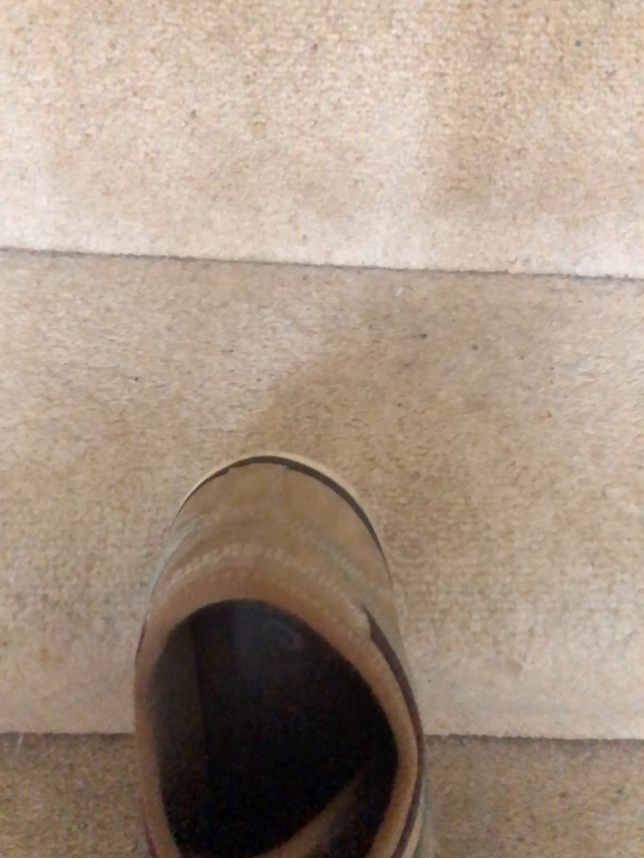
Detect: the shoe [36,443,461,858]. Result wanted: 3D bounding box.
[{"bbox_3d":[-0.016,0.161,0.258,0.110,0.300,0.120,-1,4,2],"label":"shoe"}]
